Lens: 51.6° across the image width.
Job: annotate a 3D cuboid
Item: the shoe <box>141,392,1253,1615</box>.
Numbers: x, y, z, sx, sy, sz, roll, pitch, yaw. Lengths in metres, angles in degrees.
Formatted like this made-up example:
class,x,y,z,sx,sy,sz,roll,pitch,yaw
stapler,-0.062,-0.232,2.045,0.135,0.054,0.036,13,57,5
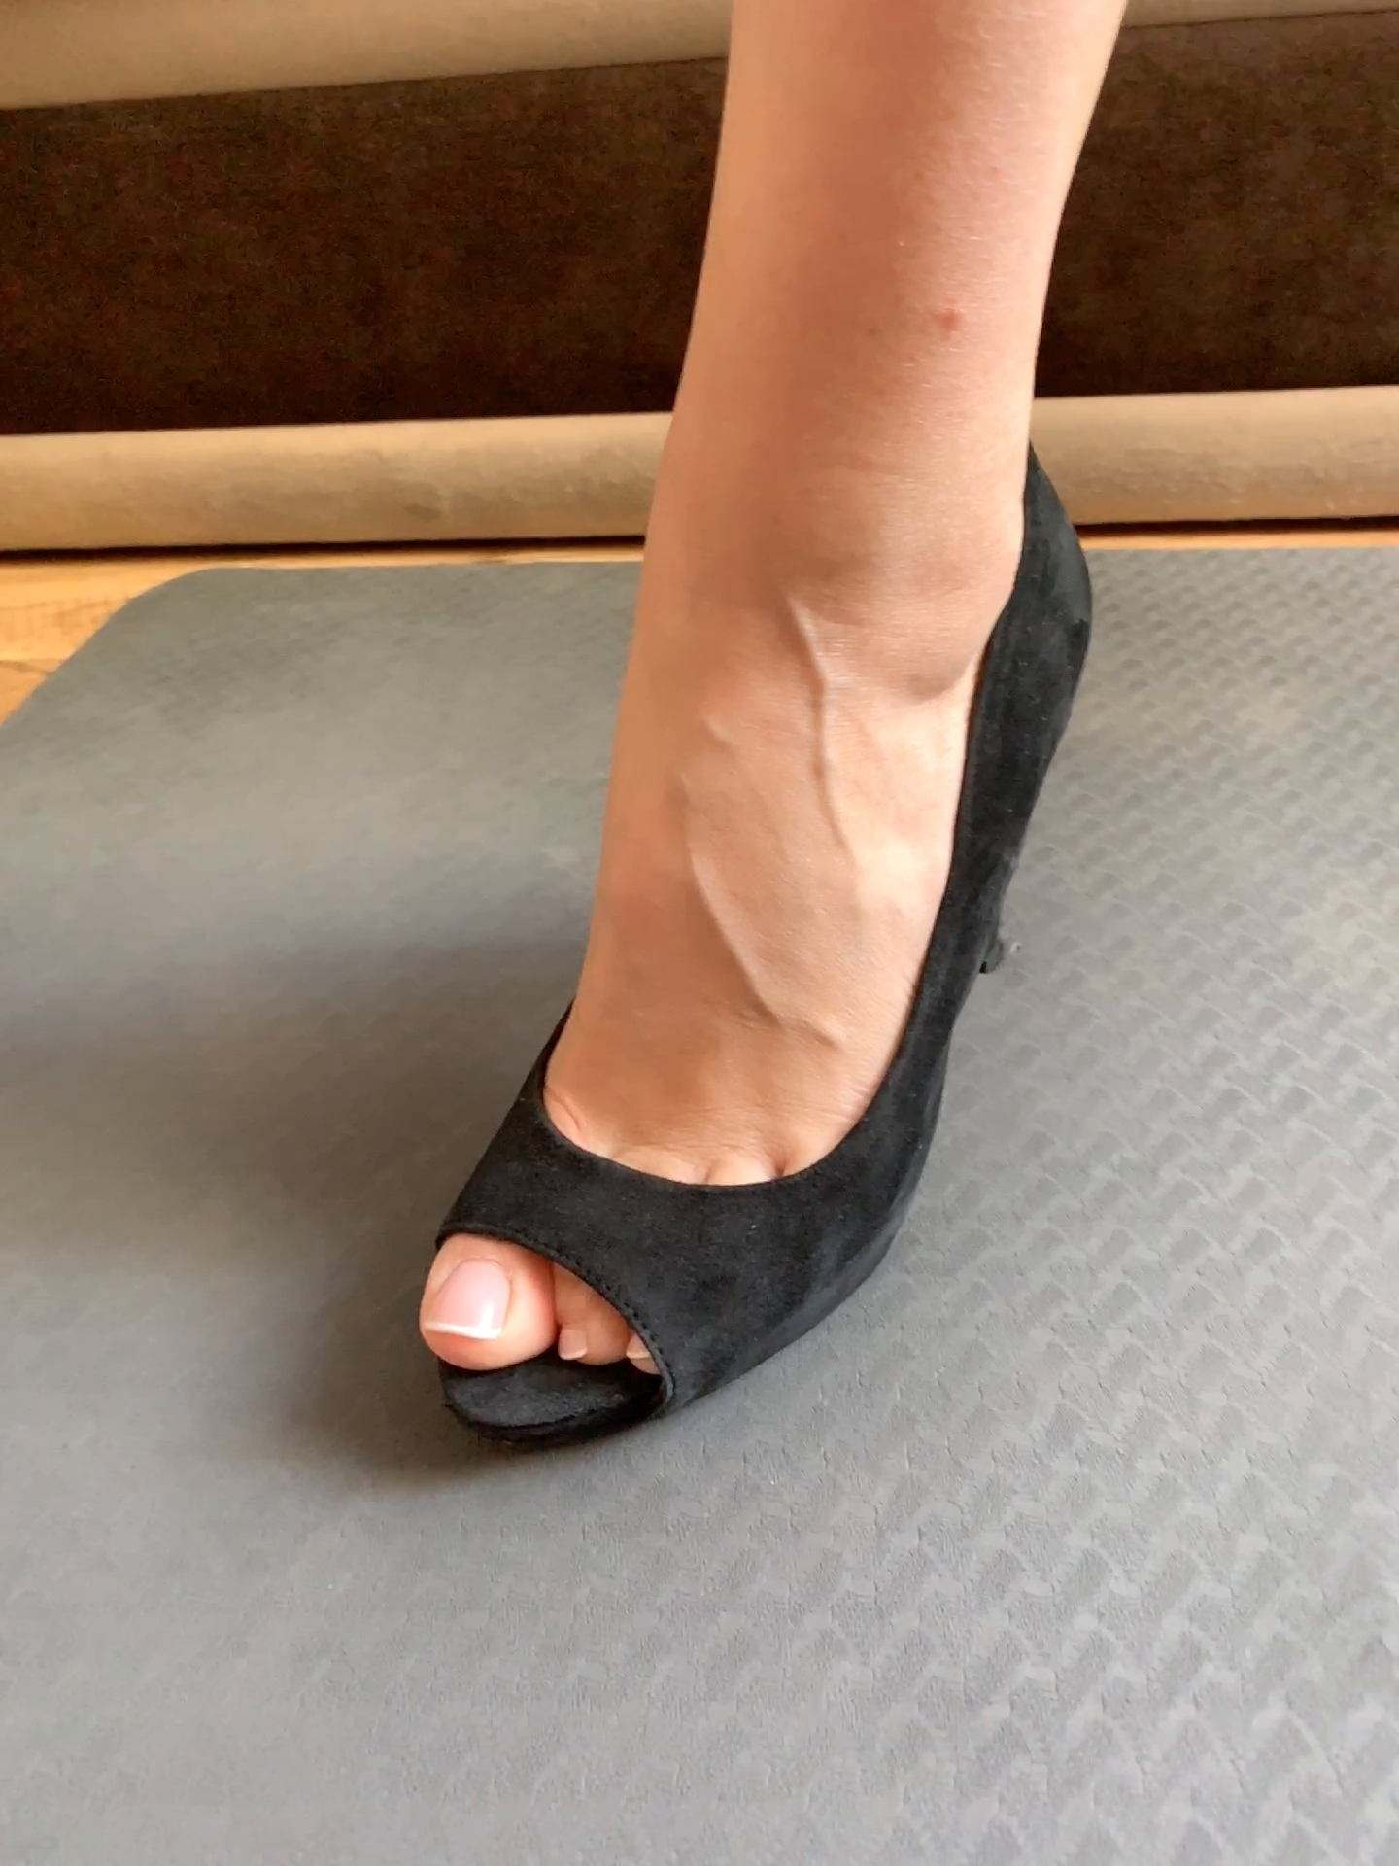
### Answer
class,x,y,z,sx,sy,sz,roll,pitch,yaw
shoe,0.020,-0.005,0.299,0.090,0.139,0.211,22,45,31
